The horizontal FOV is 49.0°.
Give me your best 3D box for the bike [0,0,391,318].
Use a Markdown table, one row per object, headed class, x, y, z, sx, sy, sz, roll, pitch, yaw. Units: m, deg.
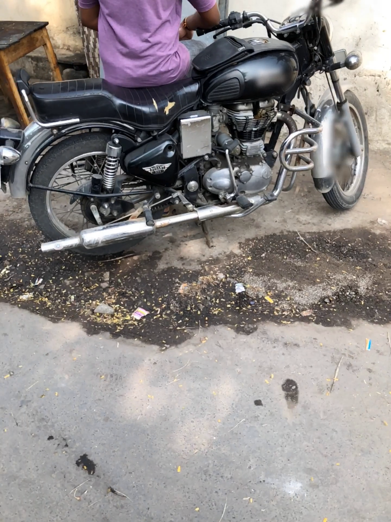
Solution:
| class | x | y | z | sx | sy | sz | roll | pitch | yaw |
| --- | --- | --- | --- | --- | --- | --- | --- | --- | --- |
| bike | 0.096 | -0.753 | 2.179 | 1.923 | 1.173 | 0.842 | -18 | 40 | -14 |
